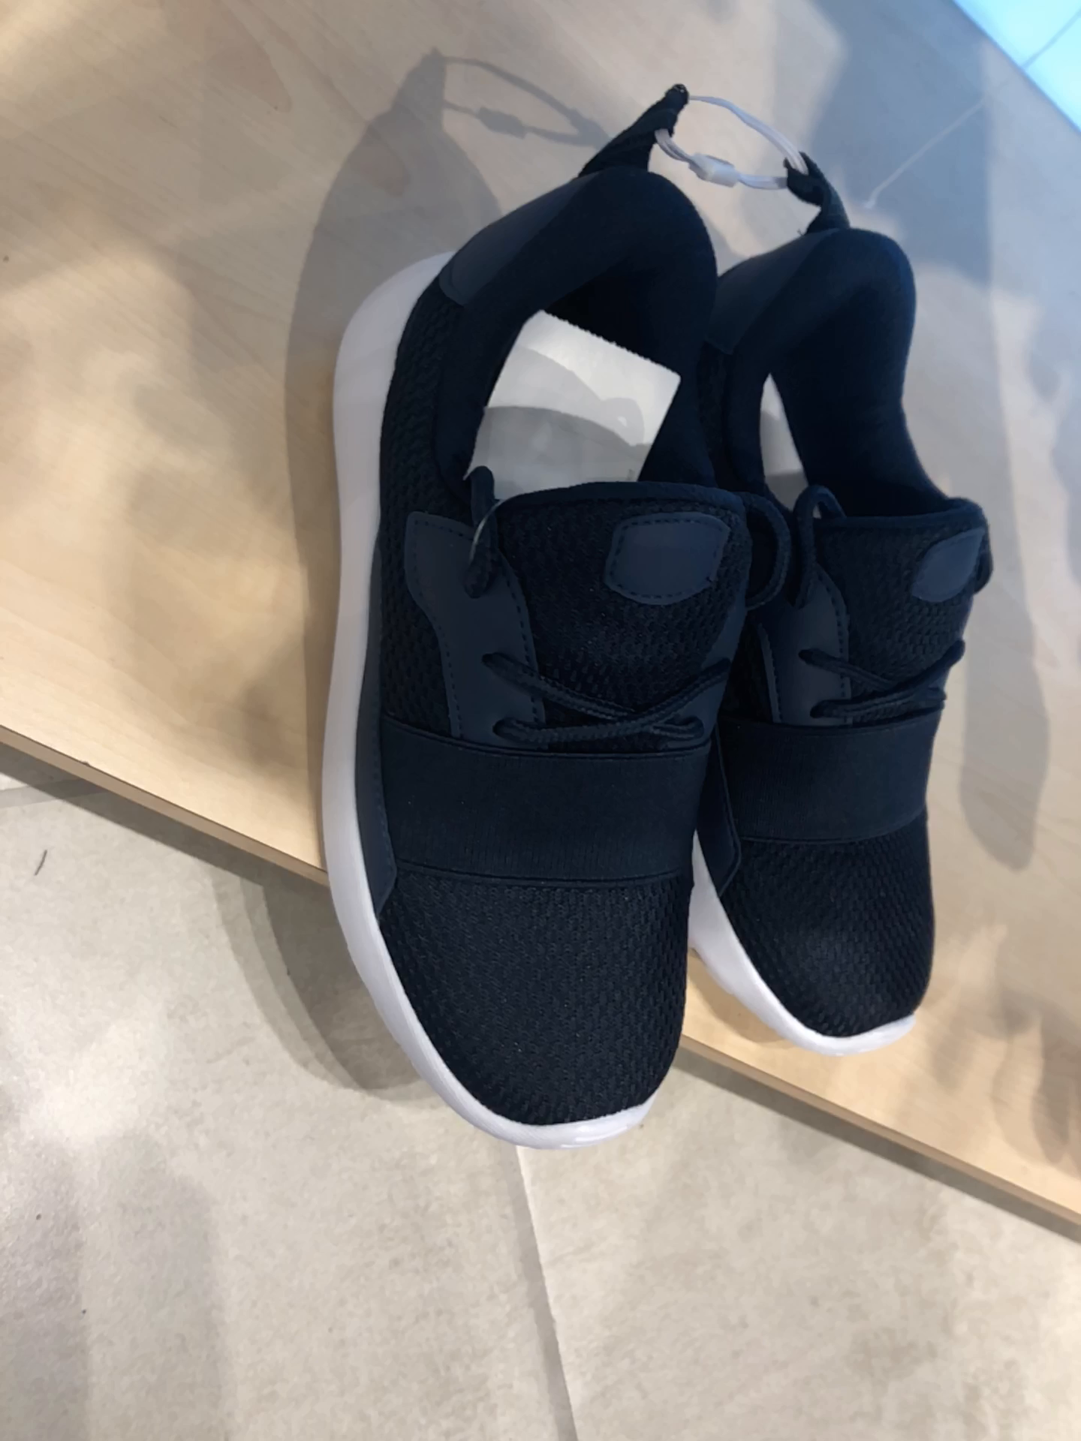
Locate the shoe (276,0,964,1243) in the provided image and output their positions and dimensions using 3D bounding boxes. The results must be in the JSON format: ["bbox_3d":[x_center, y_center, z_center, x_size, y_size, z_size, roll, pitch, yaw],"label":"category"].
[{"bbox_3d":[0.007,-0.024,0.279,0.090,0.099,0.240,0,78,-32],"label":"shoe"}]

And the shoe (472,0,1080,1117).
[{"bbox_3d":[0.073,-0.035,0.316,0.101,0.099,0.240,-8,82,-34],"label":"shoe"}]
